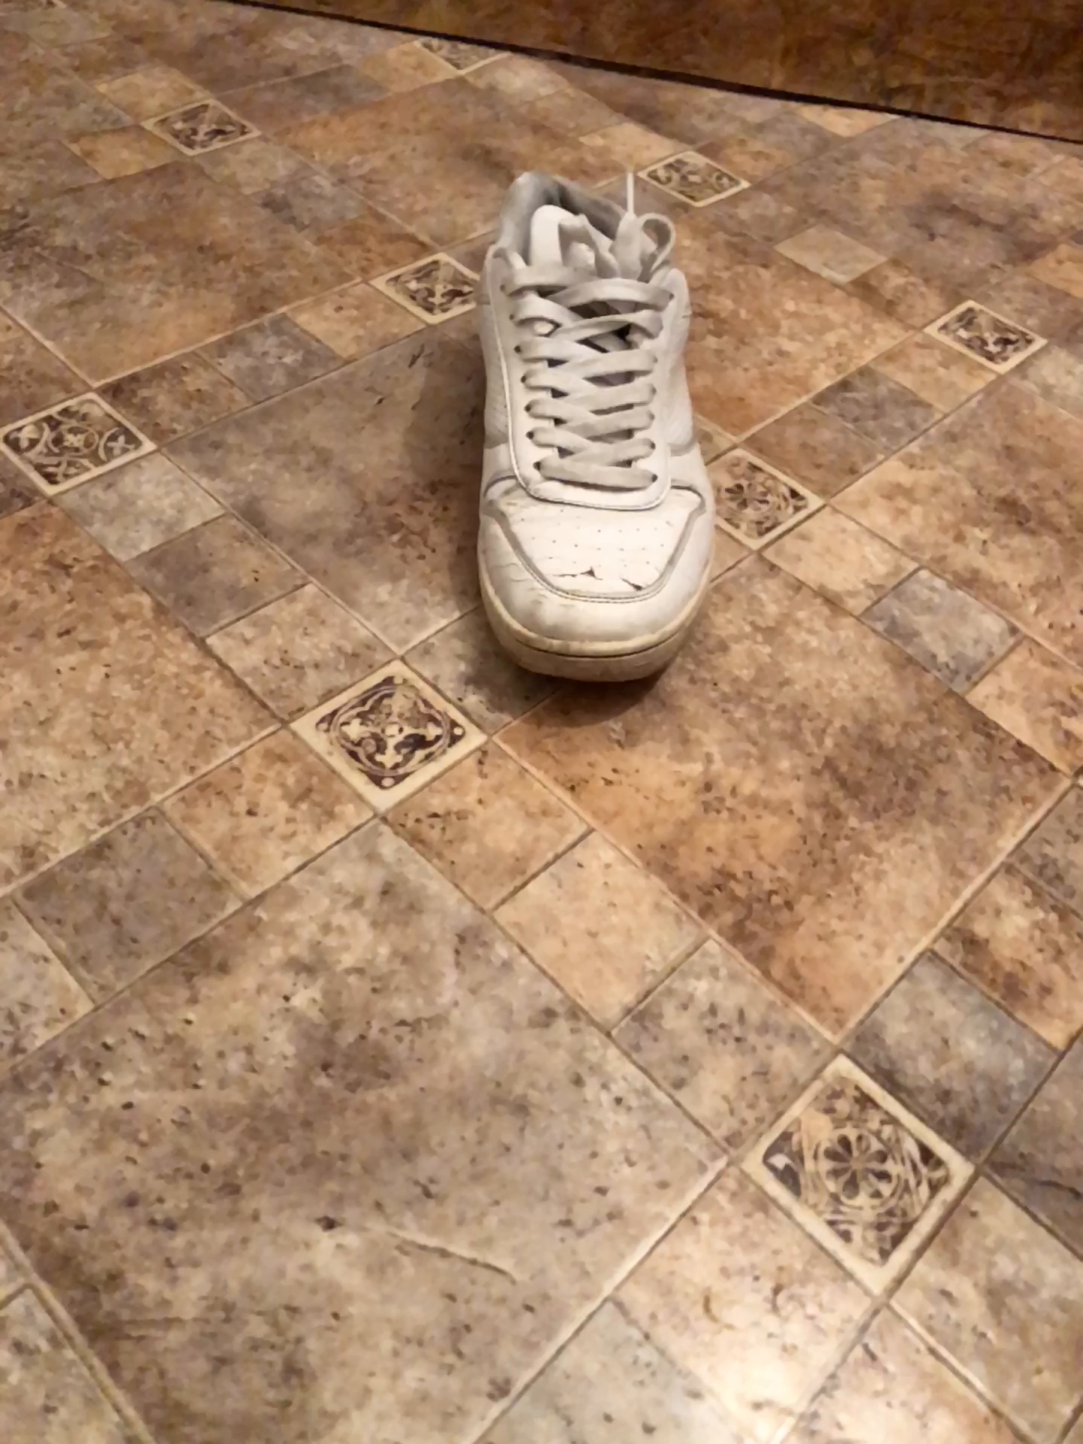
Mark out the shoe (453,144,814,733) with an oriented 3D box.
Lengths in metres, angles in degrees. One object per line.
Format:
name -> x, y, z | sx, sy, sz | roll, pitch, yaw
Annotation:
shoe -> 0.027, -0.141, 0.548 | 0.122, 0.109, 0.282 | 3, 50, -5
